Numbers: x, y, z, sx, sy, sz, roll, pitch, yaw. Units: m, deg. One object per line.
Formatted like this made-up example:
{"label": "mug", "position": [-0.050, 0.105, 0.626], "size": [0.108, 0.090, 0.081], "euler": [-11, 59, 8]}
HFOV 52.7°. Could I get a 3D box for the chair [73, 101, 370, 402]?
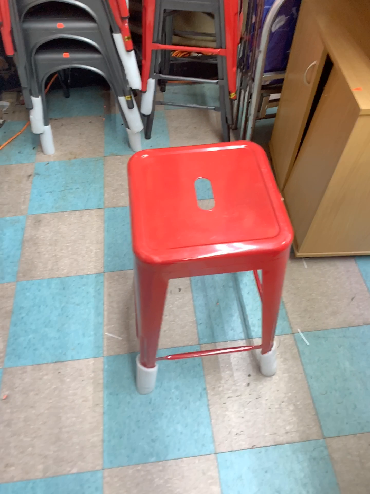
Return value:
{"label": "chair", "position": [0.038, 0.056, 0.912], "size": [0.438, 0.599, 0.436], "euler": [-6, 56, -3]}
